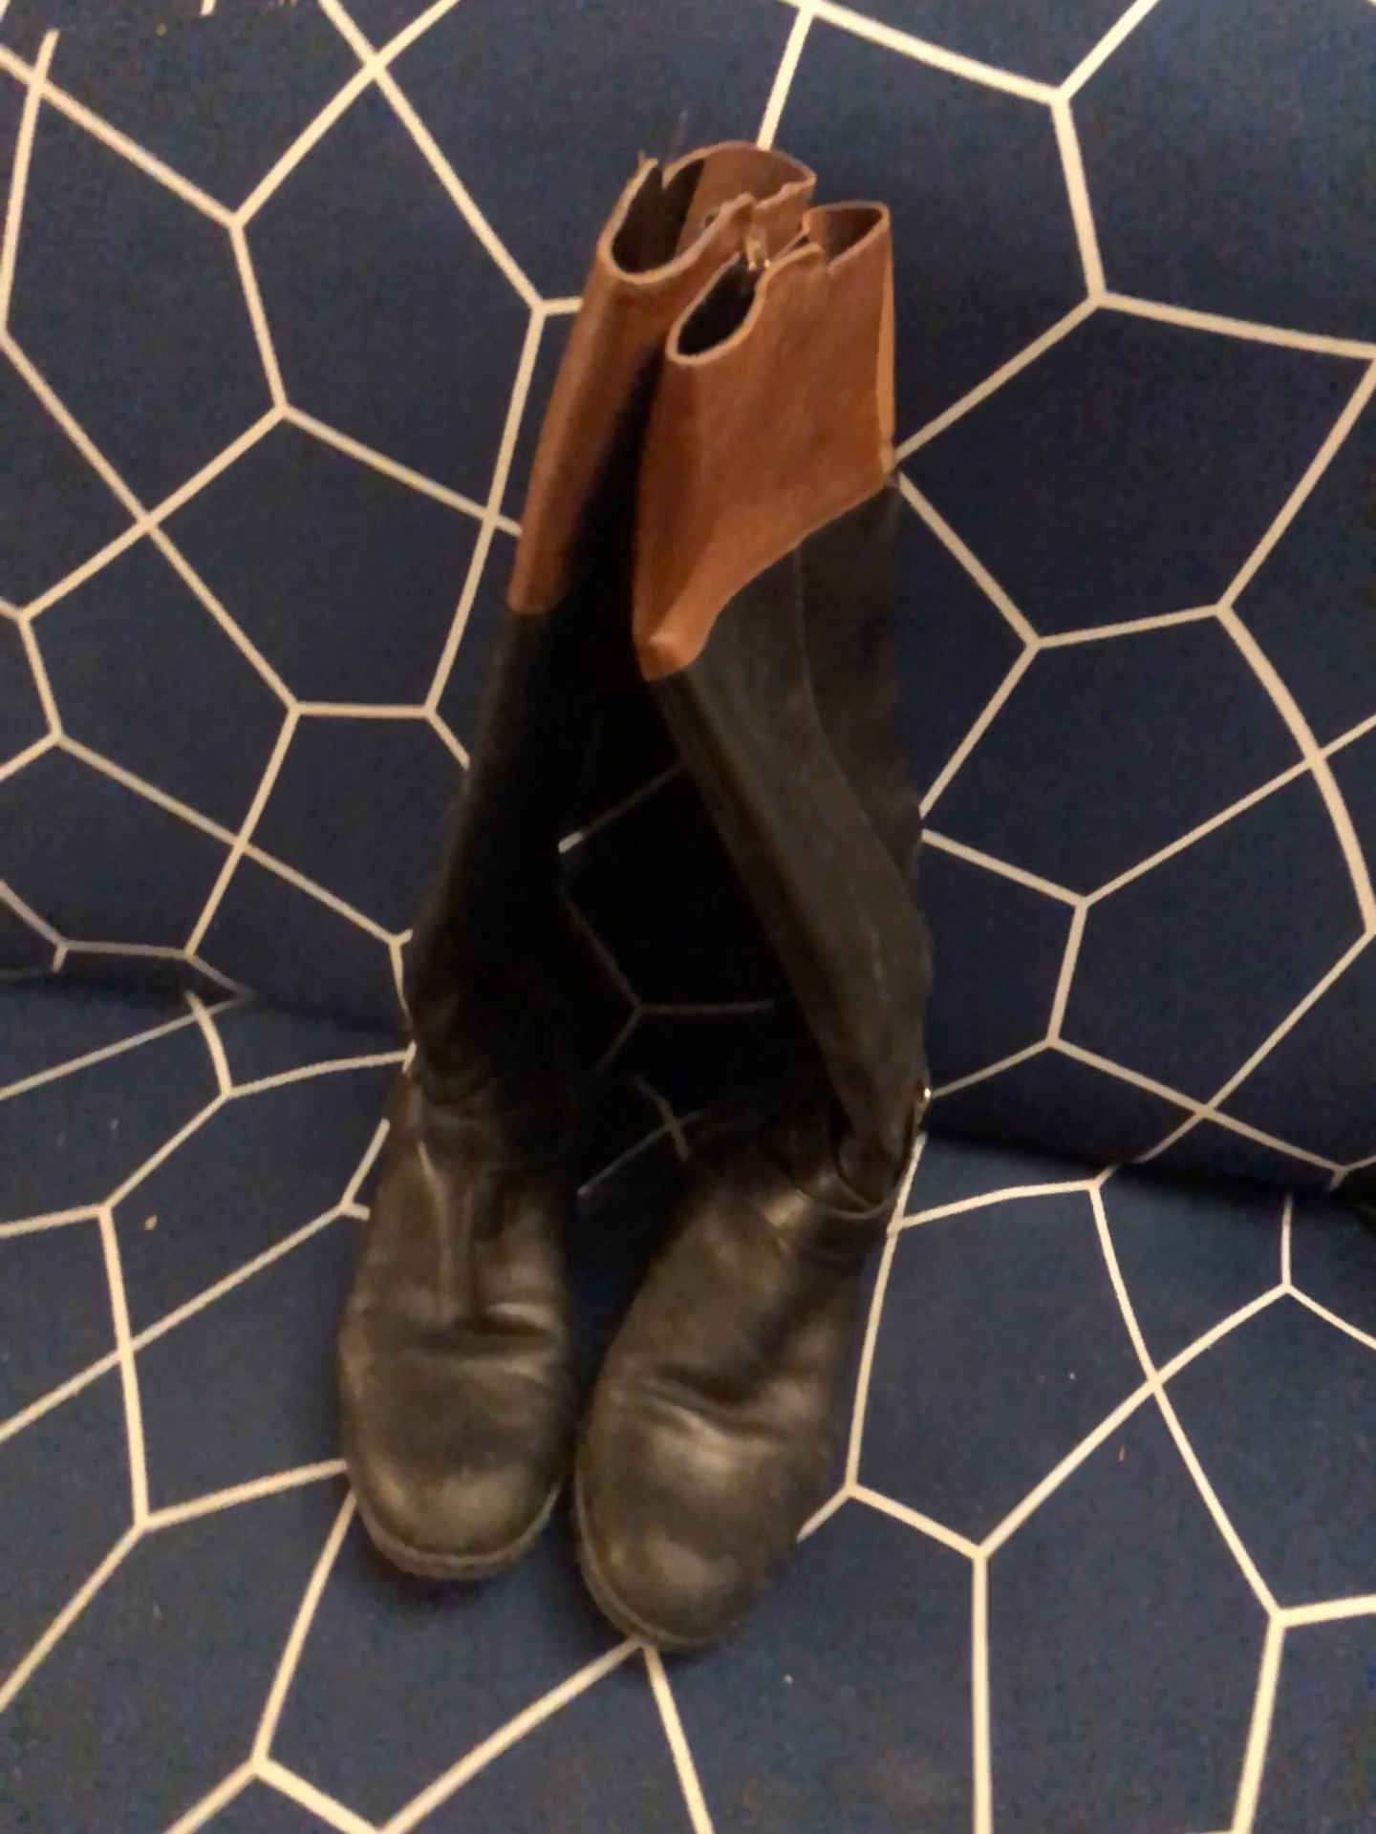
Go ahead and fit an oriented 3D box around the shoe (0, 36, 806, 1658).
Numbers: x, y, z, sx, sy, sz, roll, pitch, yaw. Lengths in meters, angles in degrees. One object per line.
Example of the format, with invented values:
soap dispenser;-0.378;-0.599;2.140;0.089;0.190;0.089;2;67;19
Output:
shoe;-0.058;-0.001;0.477;0.110;0.427;0.272;10;43;6

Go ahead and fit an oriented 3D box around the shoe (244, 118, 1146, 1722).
shoe;0.021;0.018;0.431;0.100;0.378;0.251;15;45;14
